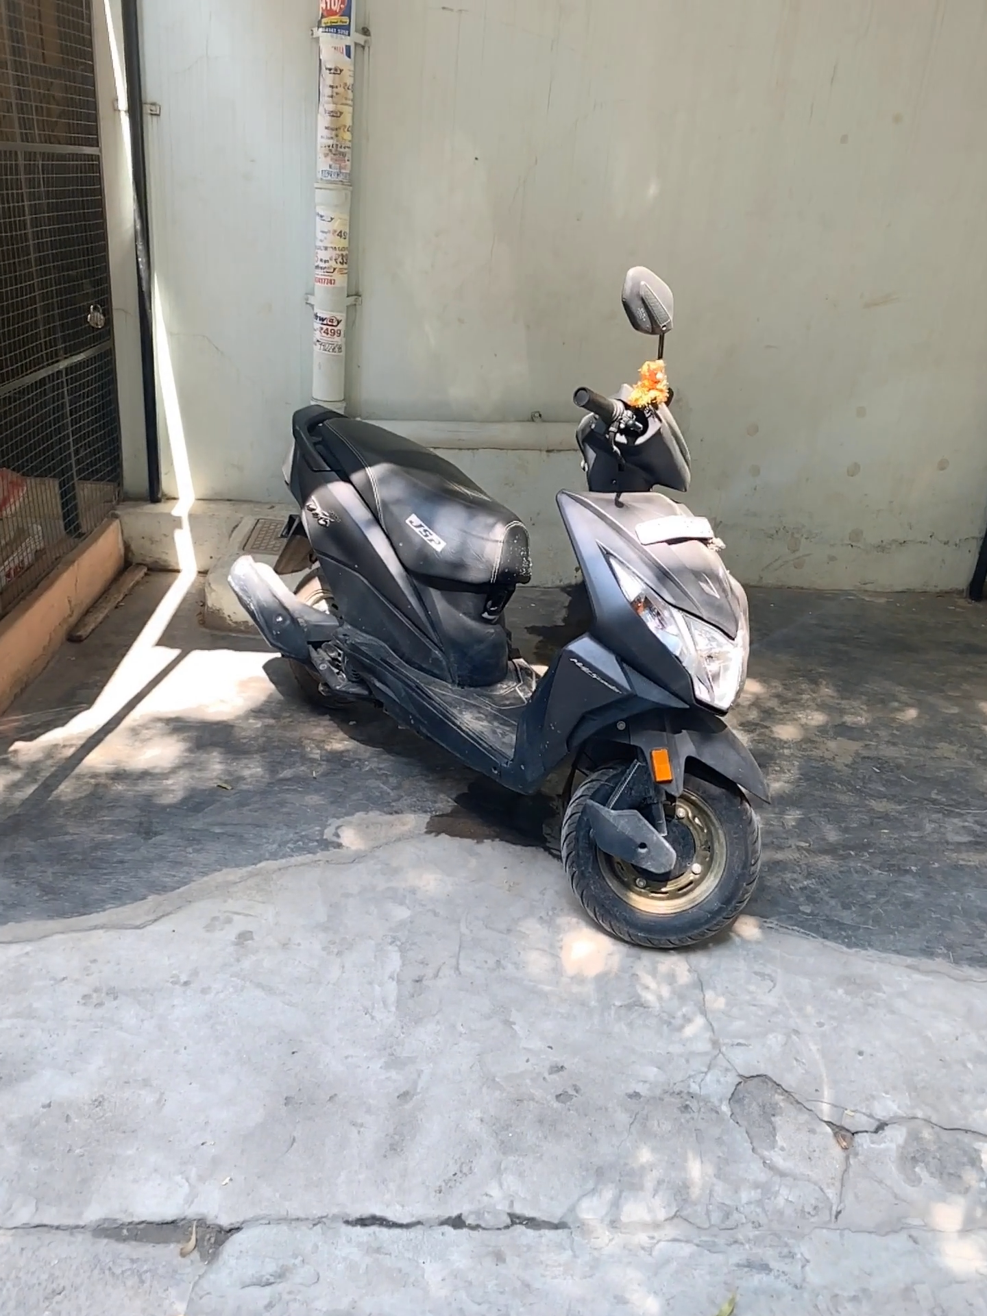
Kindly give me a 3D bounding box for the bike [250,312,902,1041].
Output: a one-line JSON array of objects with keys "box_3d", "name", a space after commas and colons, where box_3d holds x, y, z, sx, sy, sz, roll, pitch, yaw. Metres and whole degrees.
[{"box_3d": [0.056, -0.073, 2.593, 1.512, 1.278, 0.503, 27, 32, 36], "name": "bike"}]
